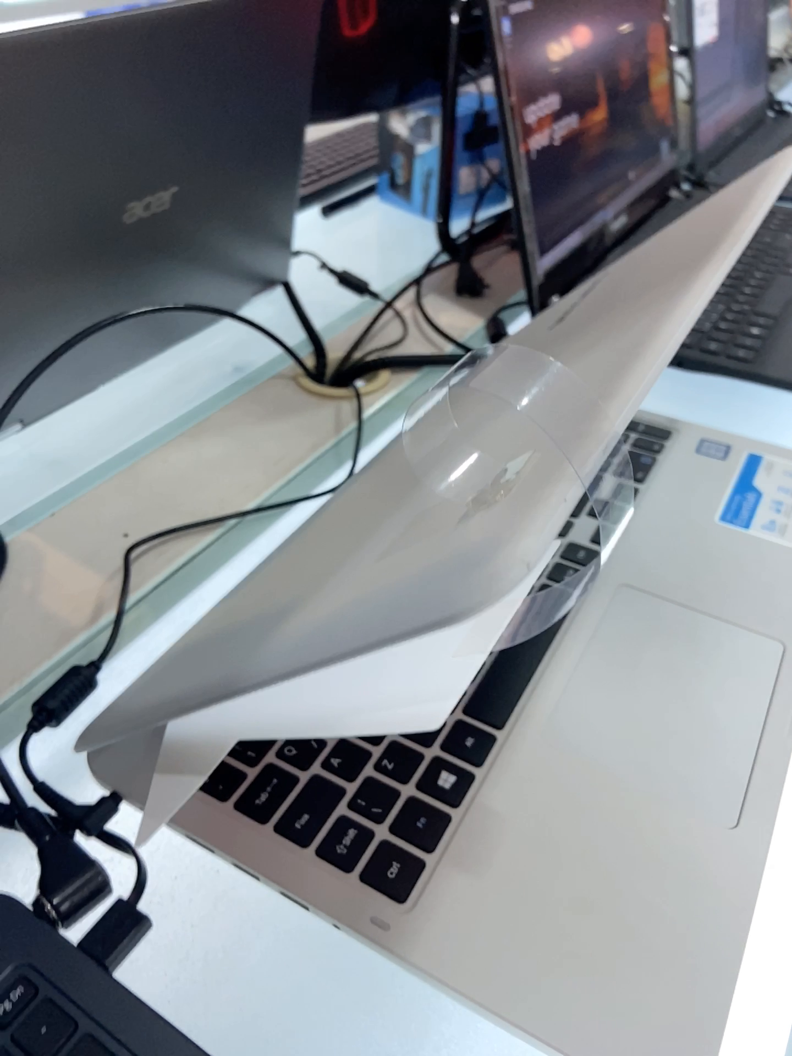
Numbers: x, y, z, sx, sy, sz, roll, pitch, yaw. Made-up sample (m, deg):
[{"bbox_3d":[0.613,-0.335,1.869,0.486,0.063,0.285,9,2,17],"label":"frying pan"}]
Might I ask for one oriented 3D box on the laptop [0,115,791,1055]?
[{"bbox_3d":[0.072,-0.037,0.352,0.232,0.162,0.369,20,42,23],"label":"laptop"}]
